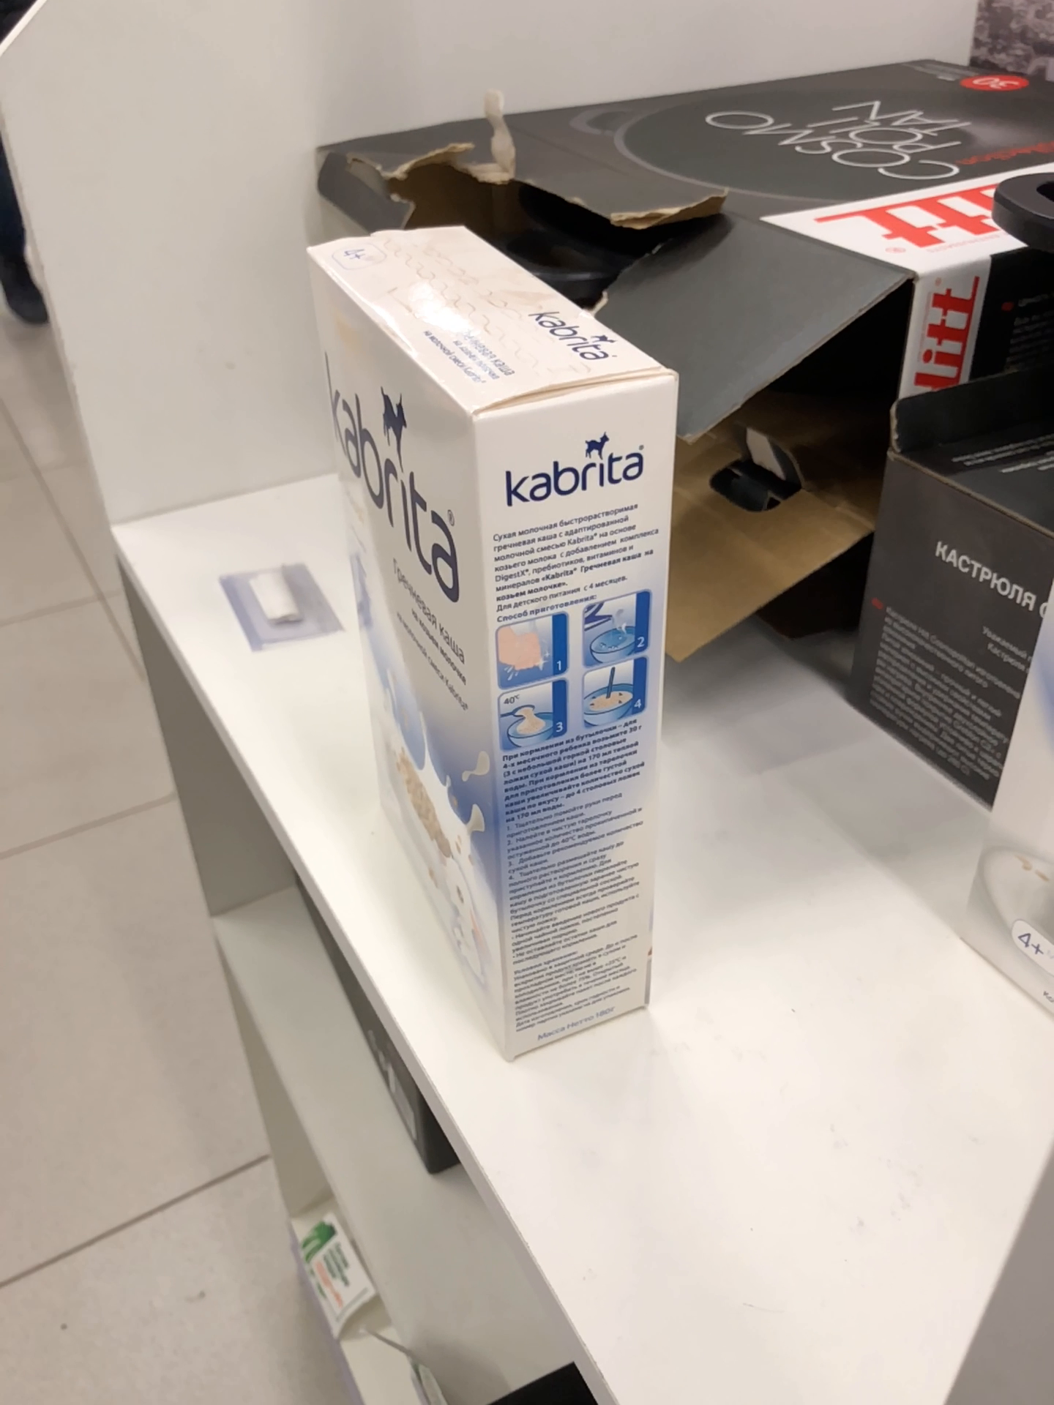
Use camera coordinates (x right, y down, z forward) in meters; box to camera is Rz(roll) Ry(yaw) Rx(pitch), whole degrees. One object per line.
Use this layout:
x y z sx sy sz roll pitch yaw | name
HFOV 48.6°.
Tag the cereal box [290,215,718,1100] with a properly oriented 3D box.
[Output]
-0.011 -0.012 0.350 0.050 0.219 0.141 -17 39 -20 | cereal box
